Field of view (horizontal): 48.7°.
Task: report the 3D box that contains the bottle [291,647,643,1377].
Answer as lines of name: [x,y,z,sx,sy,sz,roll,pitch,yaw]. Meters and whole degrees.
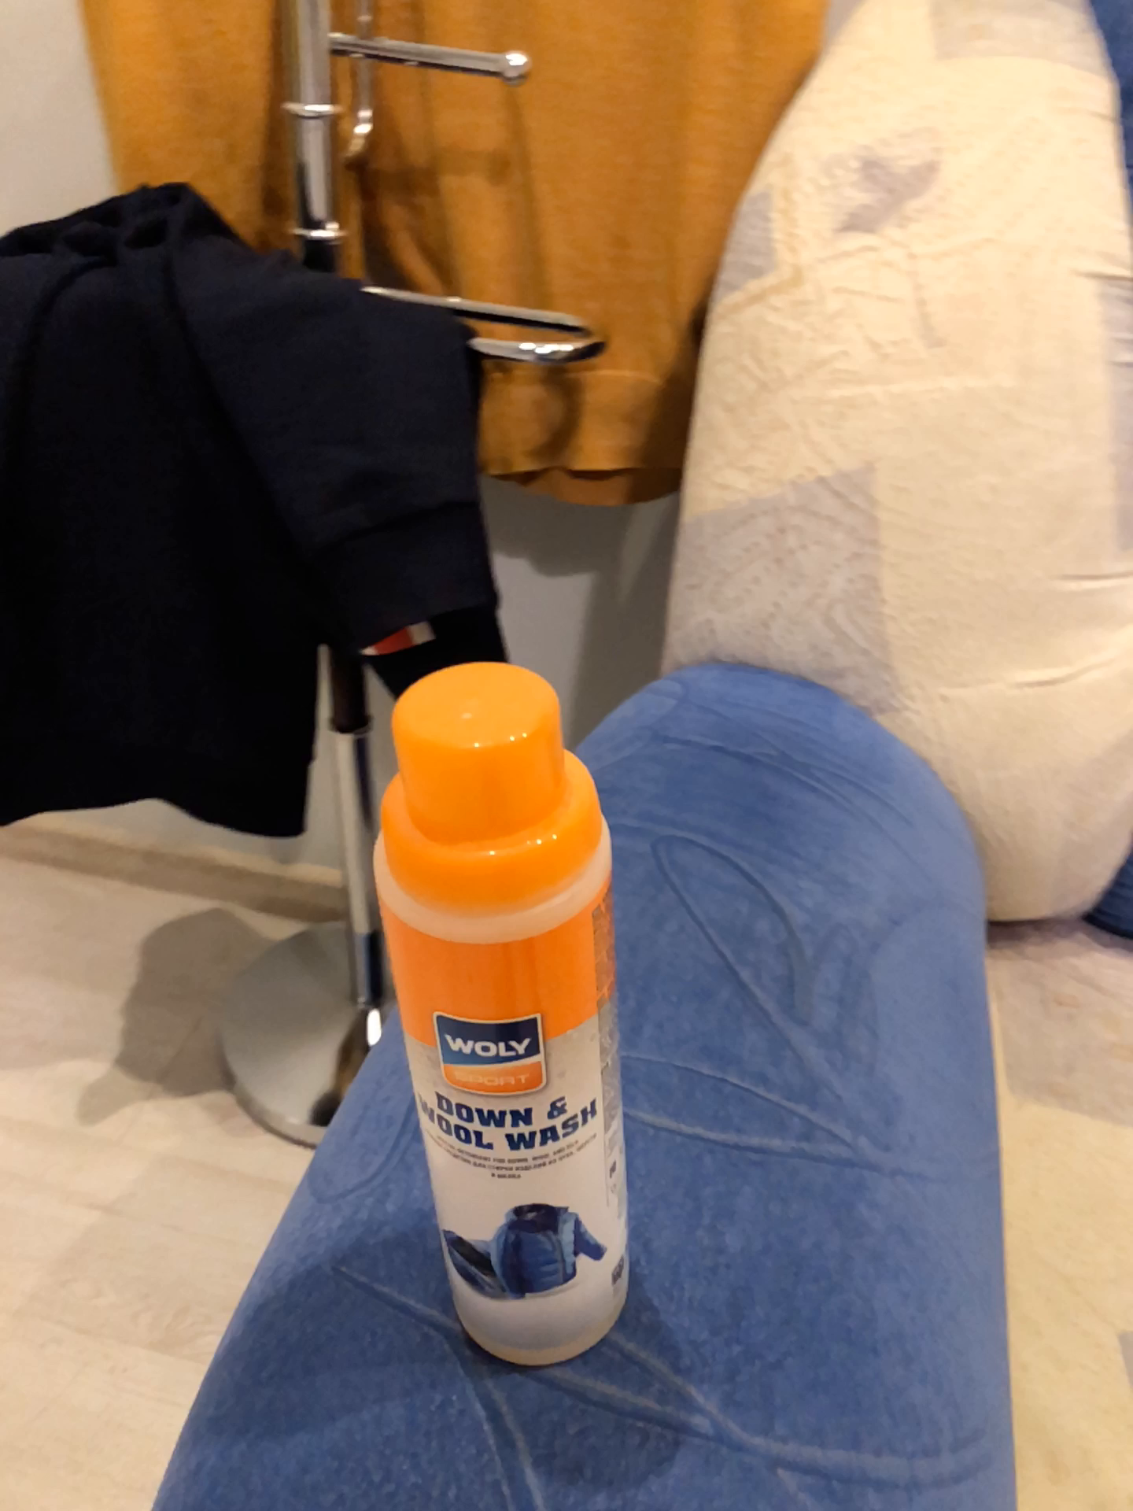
bottle: [-0.012,0.069,0.288,0.052,0.188,0.052,-3,37,2]
